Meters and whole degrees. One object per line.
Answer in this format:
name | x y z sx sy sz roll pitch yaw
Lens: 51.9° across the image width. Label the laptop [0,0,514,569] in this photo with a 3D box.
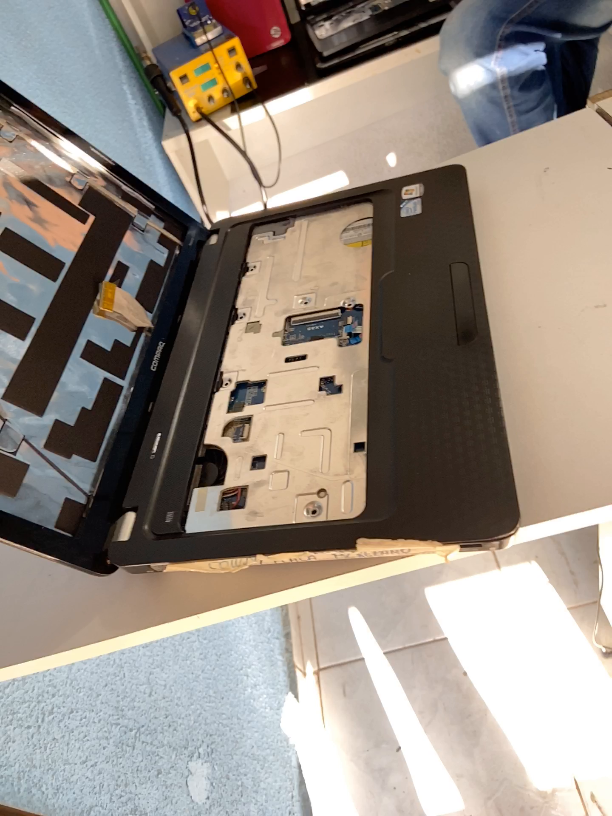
laptop | -0.075 -0.103 0.398 0.335 0.182 0.333 -9 48 18
